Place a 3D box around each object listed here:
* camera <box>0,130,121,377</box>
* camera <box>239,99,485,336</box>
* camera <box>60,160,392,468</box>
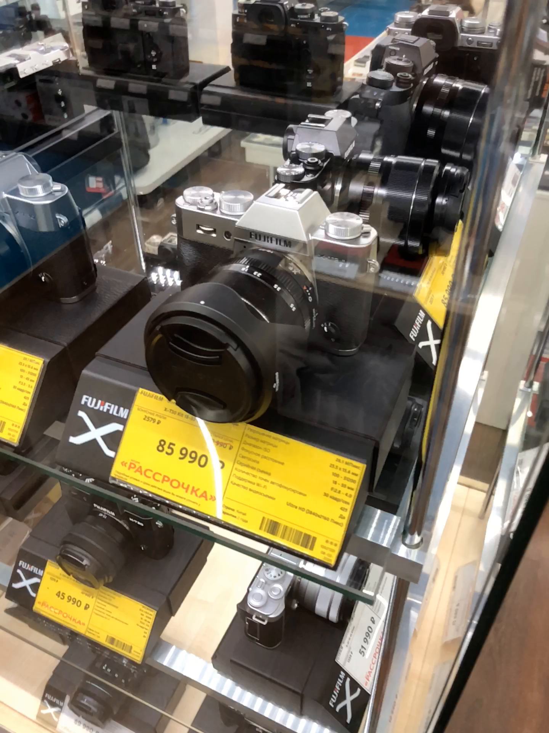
[{"bbox_3d":[-0.191,-0.077,0.380,0.135,0.088,0.104,17,44,19],"label":"camera"},{"bbox_3d":[0.064,-0.112,0.424,0.123,0.088,0.145,16,43,18],"label":"camera"},{"bbox_3d":[-0.018,-0.037,0.327,0.120,0.088,0.121,17,44,19],"label":"camera"}]
